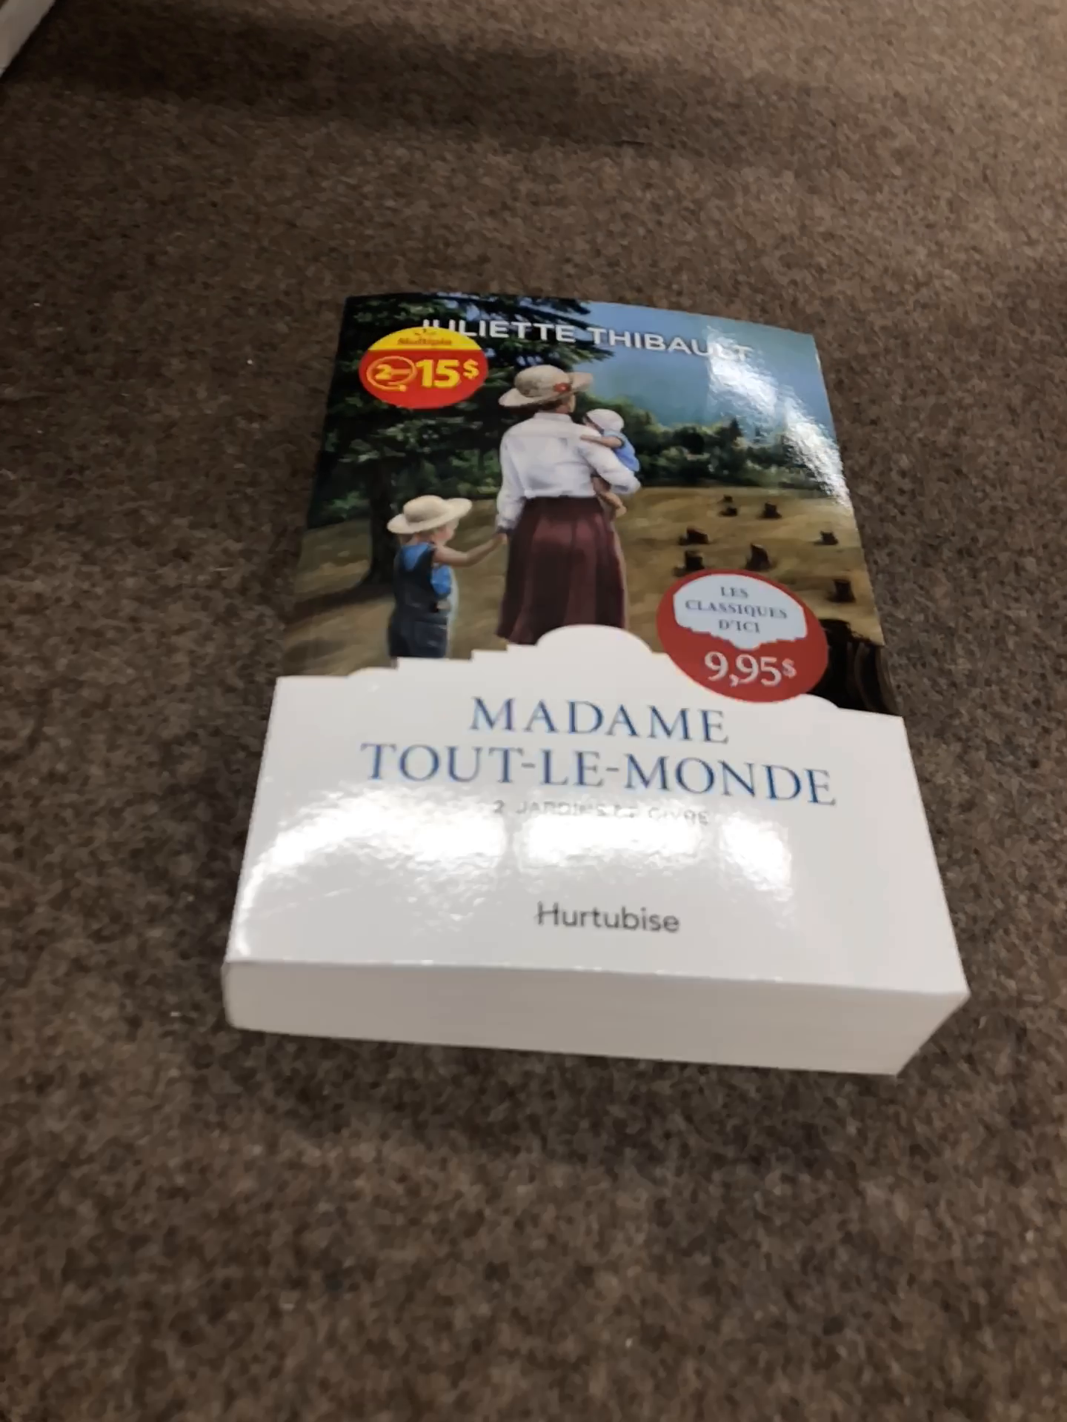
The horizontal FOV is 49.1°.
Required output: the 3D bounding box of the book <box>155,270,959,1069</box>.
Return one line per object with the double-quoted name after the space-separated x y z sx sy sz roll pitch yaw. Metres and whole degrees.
0.006 -0.025 0.316 0.160 0.050 0.223 4 54 -3 "book"
